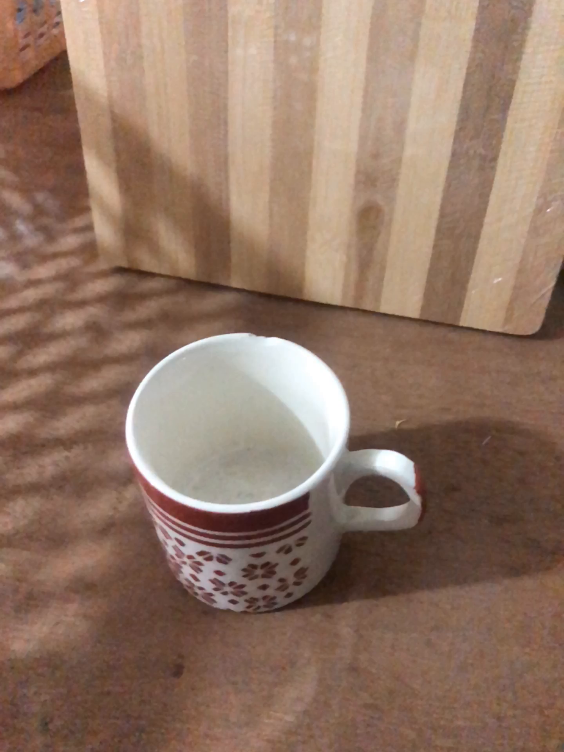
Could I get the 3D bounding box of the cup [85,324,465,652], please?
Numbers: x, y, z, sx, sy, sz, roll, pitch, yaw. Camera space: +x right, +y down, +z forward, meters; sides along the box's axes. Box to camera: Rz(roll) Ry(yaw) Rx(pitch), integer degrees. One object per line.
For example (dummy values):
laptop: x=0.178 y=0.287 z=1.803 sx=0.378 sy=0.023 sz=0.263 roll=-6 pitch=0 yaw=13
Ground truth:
cup: x=0.003 y=0.036 z=0.197 sx=0.090 sy=0.080 sz=0.060 roll=4 pitch=49 yaw=7
